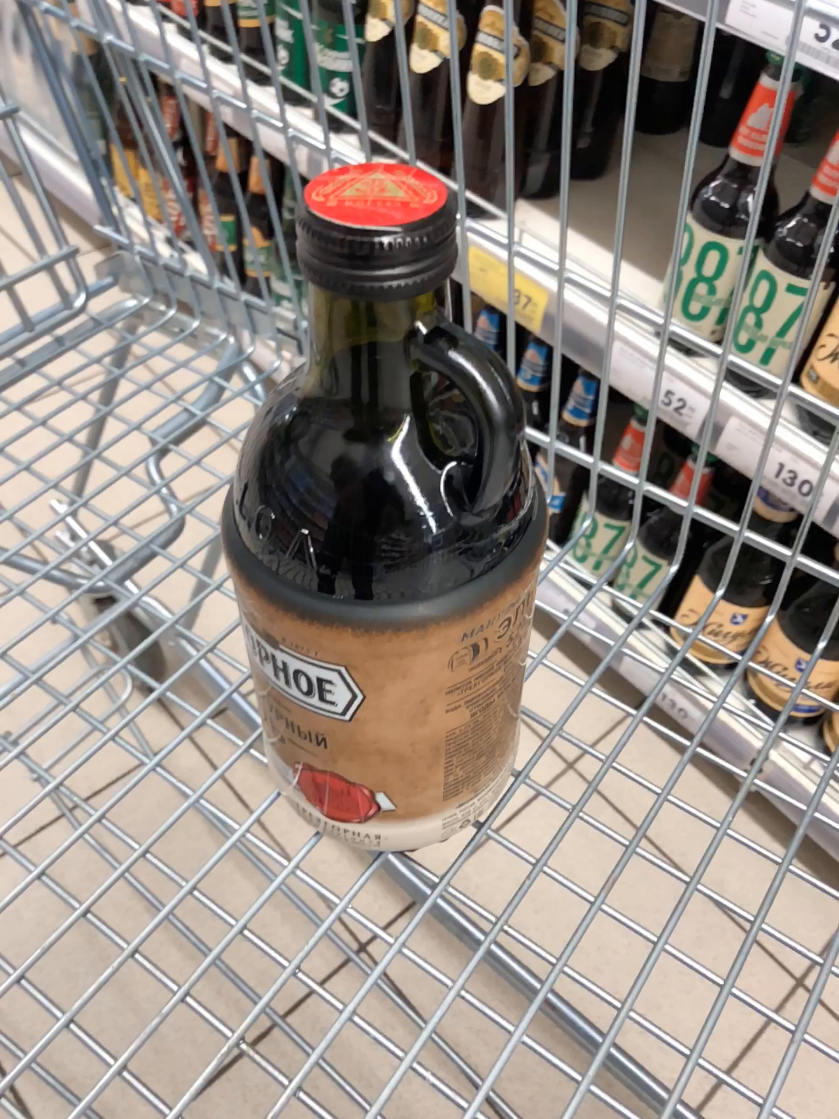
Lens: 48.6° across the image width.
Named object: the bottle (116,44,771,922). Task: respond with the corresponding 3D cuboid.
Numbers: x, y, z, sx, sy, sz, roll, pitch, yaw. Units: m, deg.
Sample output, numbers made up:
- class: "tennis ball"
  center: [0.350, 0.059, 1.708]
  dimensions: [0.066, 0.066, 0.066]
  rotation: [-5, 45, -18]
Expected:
- class: "bottle"
  center: [-0.008, -0.007, 0.279]
  dimensions: [0.100, 0.229, 0.110]
  rotation: [-17, 51, -19]
